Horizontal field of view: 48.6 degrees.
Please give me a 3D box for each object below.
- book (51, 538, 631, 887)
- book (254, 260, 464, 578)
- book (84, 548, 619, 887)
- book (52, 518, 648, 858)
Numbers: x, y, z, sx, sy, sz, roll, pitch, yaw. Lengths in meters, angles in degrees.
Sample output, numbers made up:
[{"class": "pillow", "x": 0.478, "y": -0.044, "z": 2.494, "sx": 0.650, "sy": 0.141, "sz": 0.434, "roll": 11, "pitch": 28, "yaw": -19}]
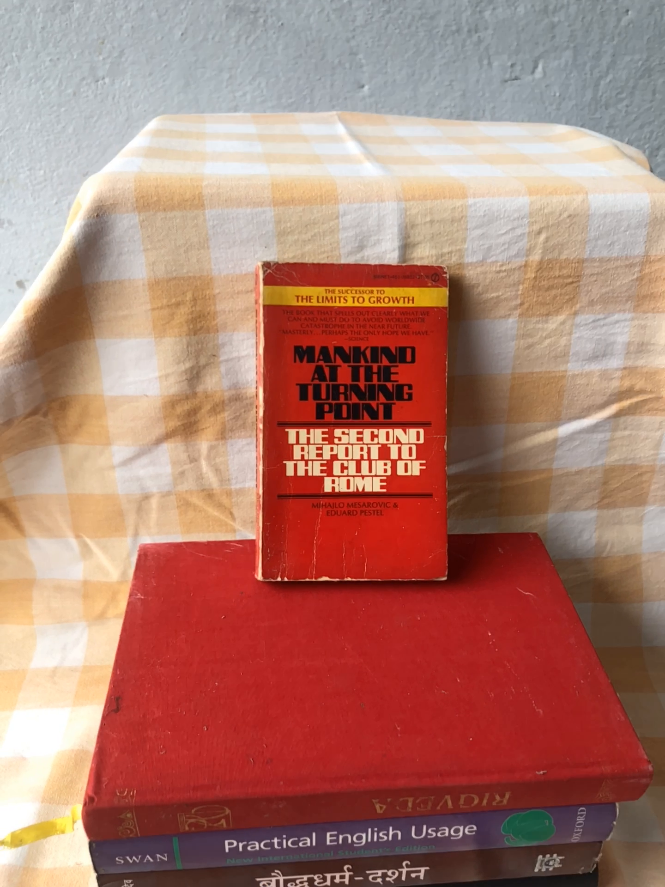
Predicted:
[{"class": "book", "x": 0.001, "y": 0.141, "z": 0.433, "sx": 0.270, "sy": 0.040, "sz": 0.191, "roll": -3, "pitch": 33, "yaw": -2}, {"class": "book", "x": 0.012, "y": -0.013, "z": 0.416, "sx": 0.110, "sy": 0.170, "sz": 0.040, "roll": 0, "pitch": 7, "yaw": -4}, {"class": "book", "x": 0.005, "y": 0.145, "z": 0.421, "sx": 0.240, "sy": 0.040, "sz": 0.191, "roll": -3, "pitch": 33, "yaw": -2}, {"class": "book", "x": 0.005, "y": 0.128, "z": 0.436, "sx": 0.280, "sy": 0.040, "sz": 0.191, "roll": -3, "pitch": 33, "yaw": -2}]
